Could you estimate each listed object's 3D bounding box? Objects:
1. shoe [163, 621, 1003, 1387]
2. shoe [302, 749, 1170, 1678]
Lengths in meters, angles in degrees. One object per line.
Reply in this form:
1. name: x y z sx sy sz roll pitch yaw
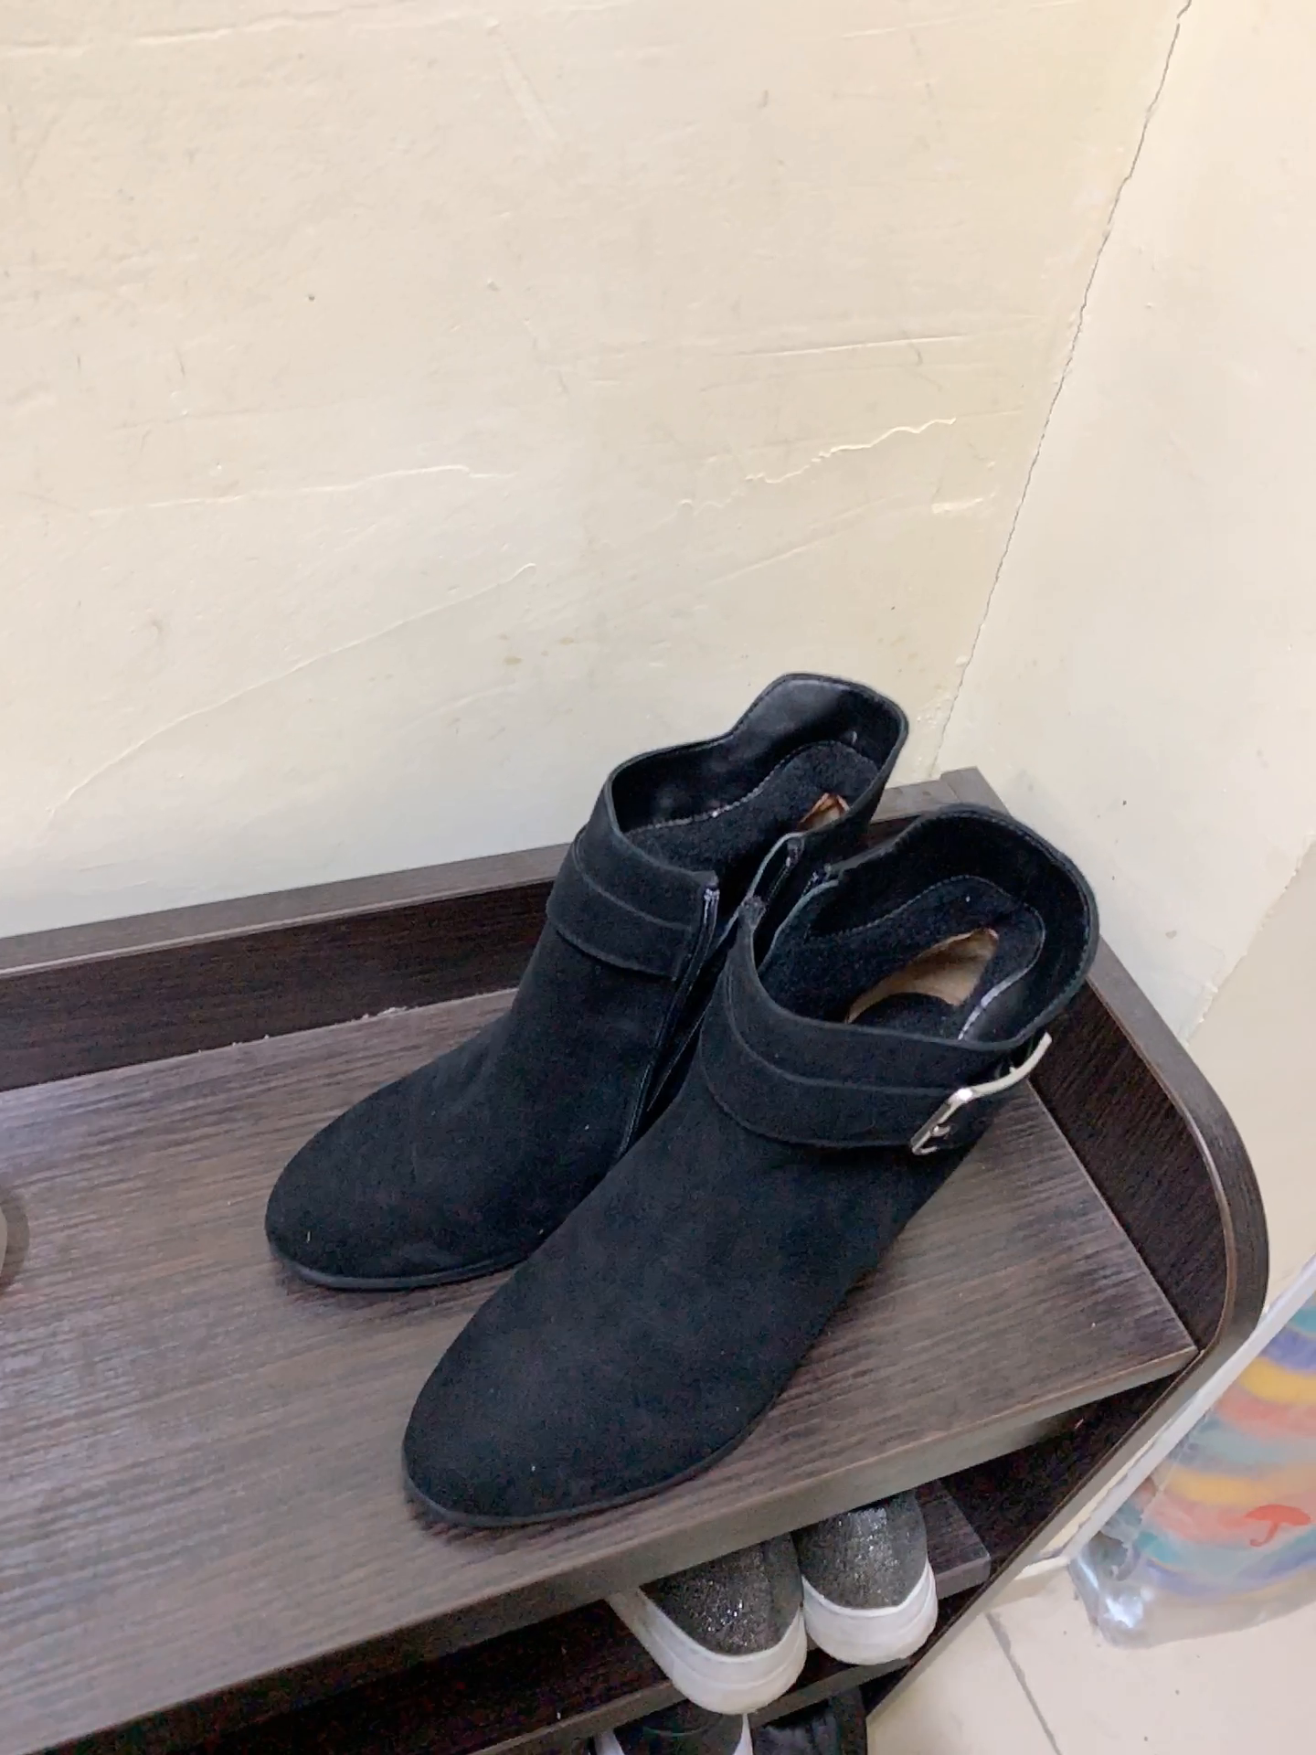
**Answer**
1. shoe: -0.024 0.040 0.469 0.240 0.189 0.088 -20 51 -27
2. shoe: 0.023 0.099 0.424 0.241 0.189 0.088 -29 56 -33
